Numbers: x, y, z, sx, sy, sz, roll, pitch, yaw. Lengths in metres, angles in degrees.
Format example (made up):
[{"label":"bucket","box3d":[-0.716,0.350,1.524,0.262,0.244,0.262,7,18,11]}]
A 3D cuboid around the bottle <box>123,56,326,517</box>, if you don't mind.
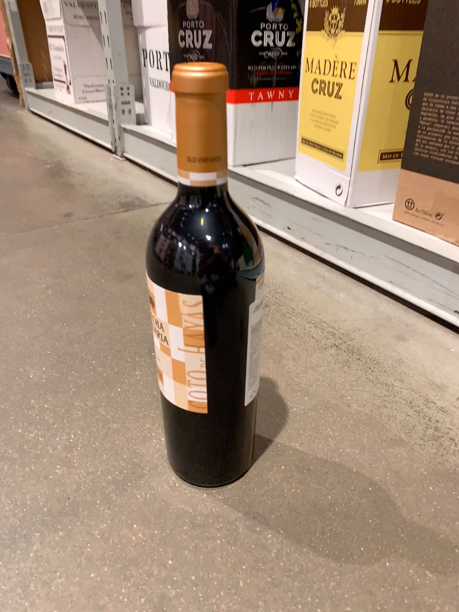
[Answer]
[{"label":"bottle","box3d":[-0.005,0.003,0.340,0.080,0.317,0.080,0,31,0]}]
